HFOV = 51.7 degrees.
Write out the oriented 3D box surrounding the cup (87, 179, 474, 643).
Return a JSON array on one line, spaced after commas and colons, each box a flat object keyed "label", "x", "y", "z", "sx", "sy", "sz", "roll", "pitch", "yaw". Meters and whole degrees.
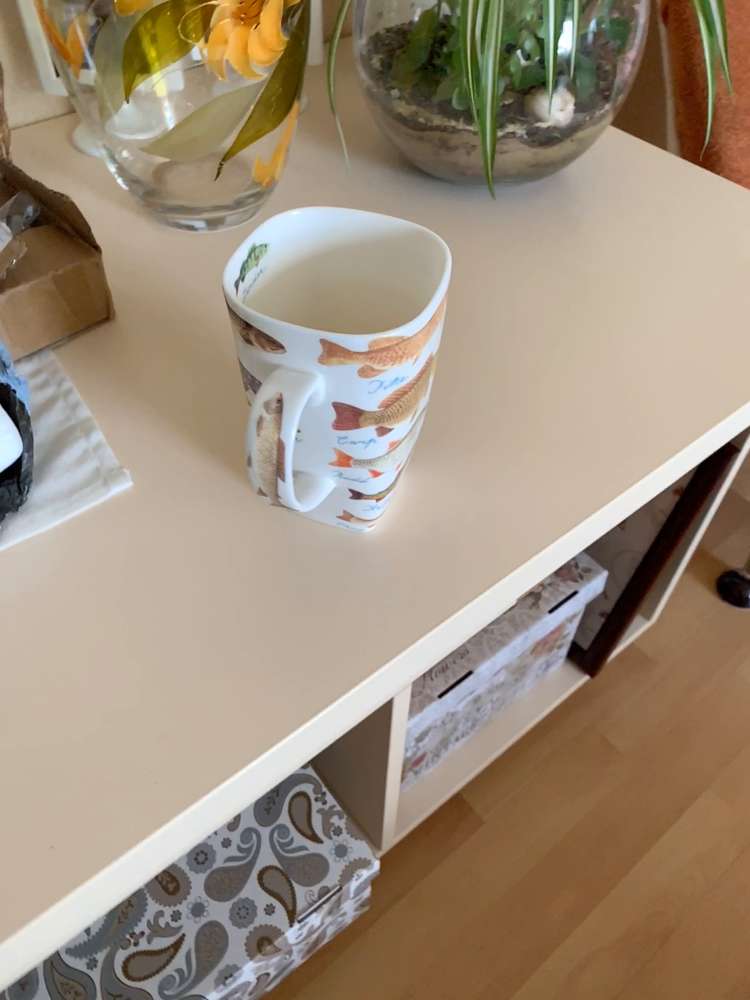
[{"label": "cup", "x": -0.030, "y": -0.042, "z": 0.350, "sx": 0.100, "sy": 0.129, "sz": 0.141, "roll": 17, "pitch": 50, "yaw": 12}]
